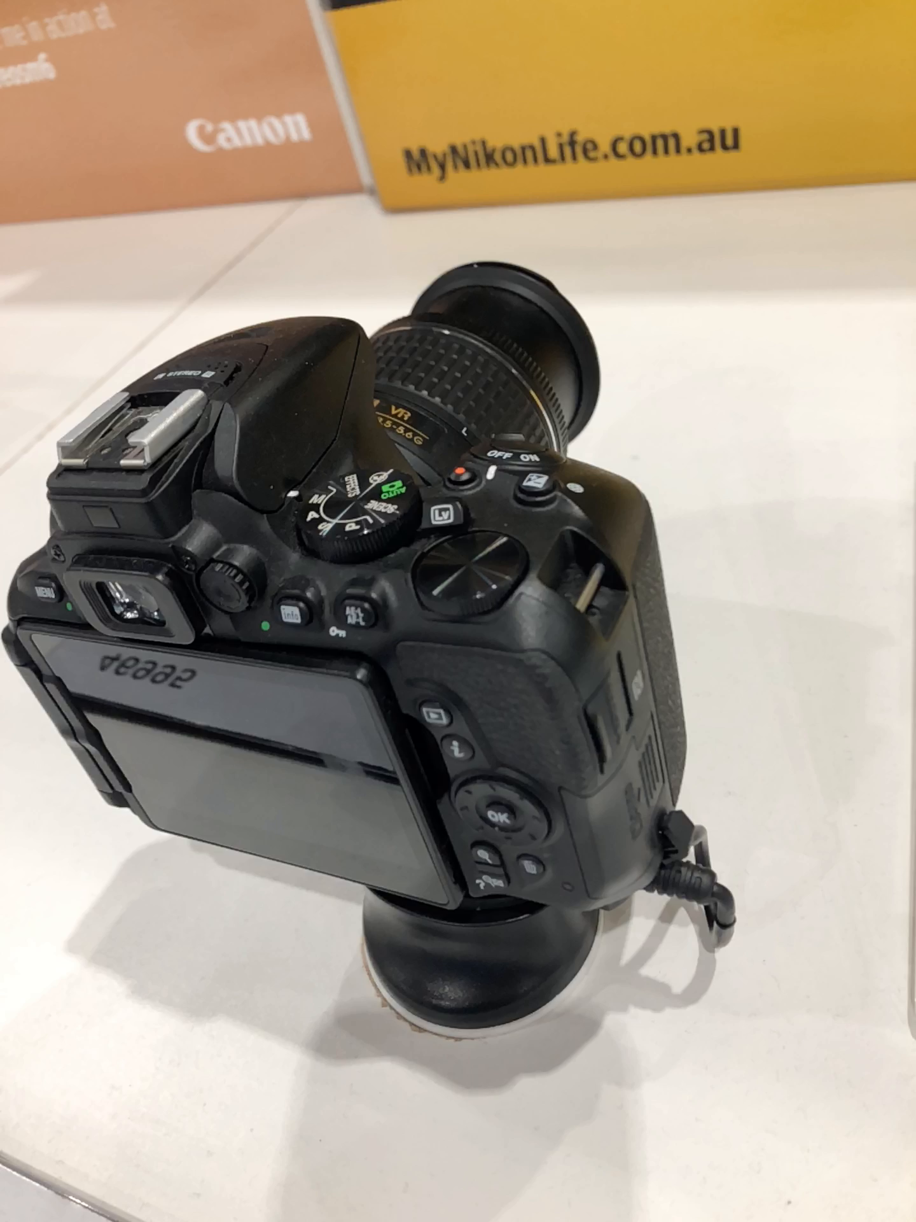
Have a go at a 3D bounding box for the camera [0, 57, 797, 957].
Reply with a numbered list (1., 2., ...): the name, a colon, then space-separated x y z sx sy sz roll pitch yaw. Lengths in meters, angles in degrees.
1. camera: -0.006 -0.036 0.230 0.127 0.097 0.163 7 46 27
